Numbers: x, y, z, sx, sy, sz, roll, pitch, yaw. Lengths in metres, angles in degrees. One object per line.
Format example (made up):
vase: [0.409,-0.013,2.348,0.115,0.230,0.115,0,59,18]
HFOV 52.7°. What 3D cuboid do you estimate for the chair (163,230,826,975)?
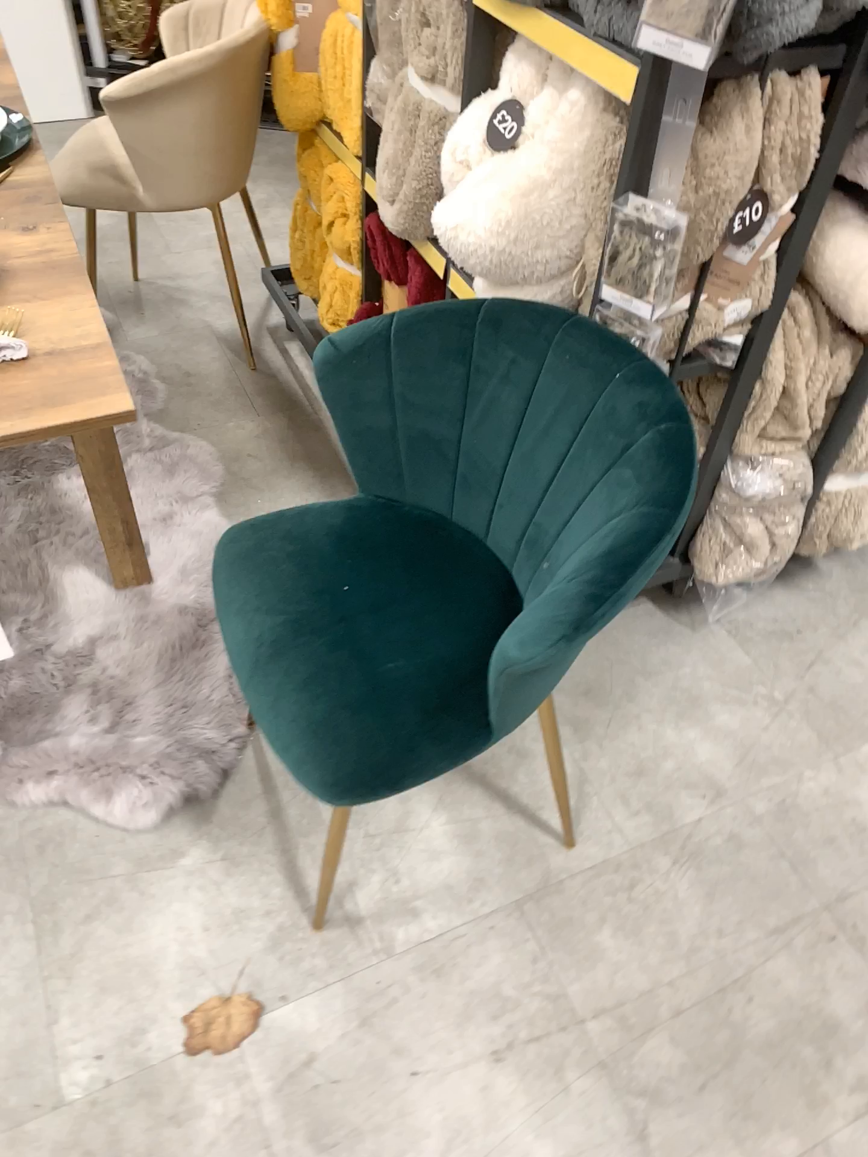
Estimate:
chair: [0.009,0.042,1.195,0.525,0.754,0.544,-14,49,-17]
